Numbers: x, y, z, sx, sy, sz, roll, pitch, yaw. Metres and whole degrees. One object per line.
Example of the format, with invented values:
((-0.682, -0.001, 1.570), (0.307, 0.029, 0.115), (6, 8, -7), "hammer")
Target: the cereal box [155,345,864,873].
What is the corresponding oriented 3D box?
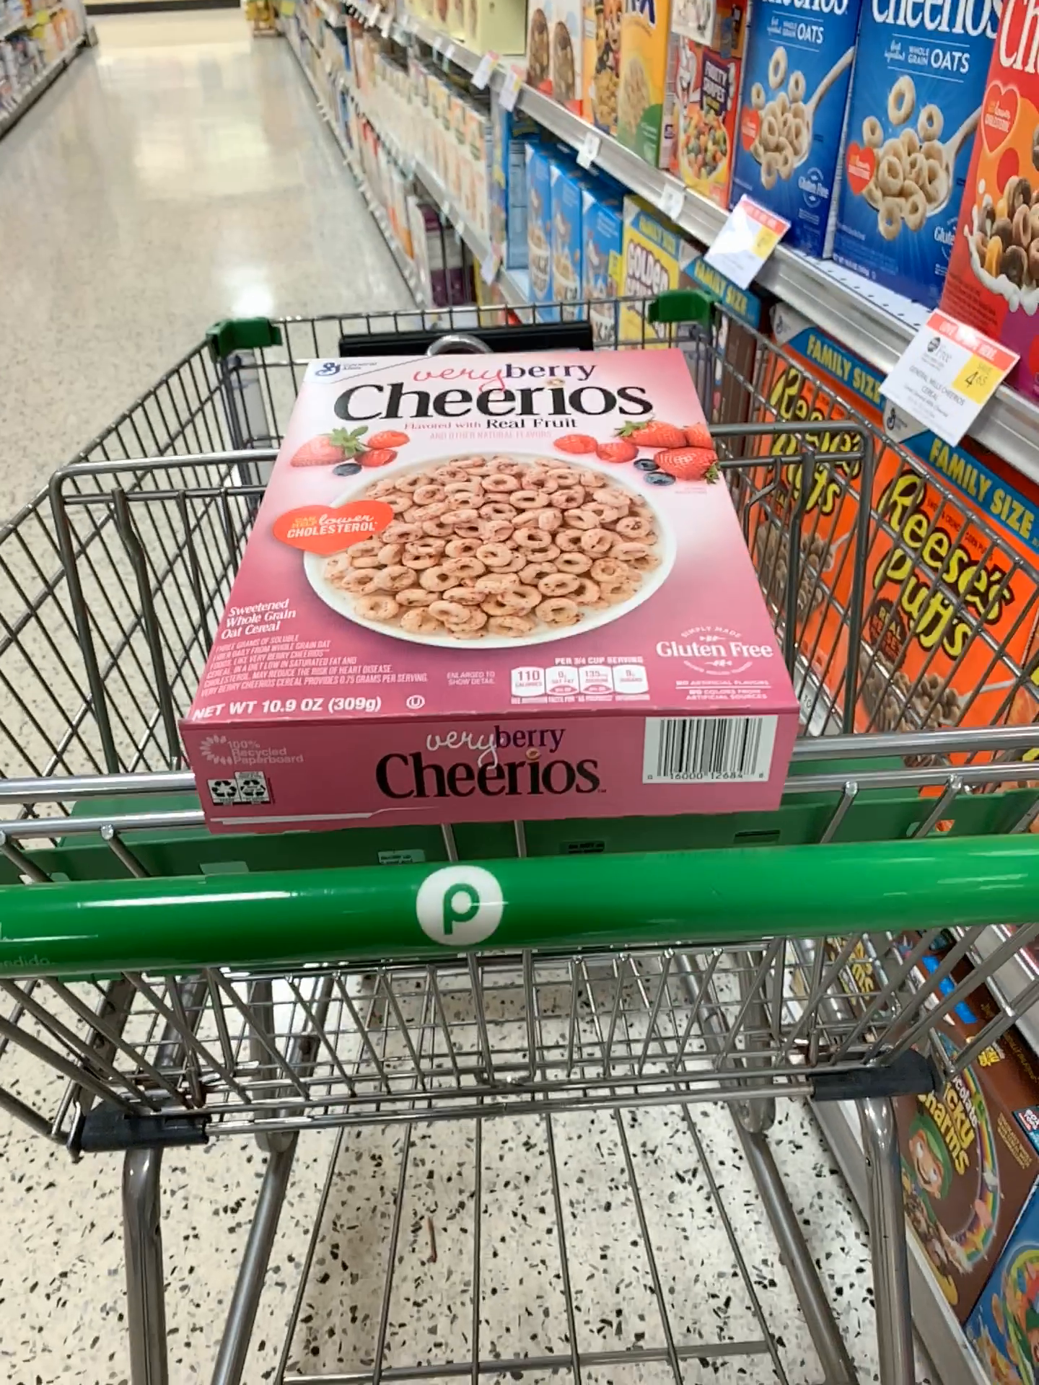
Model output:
((-0.004, -0.057, 0.444), (0.210, 0.059, 0.283), (-2, 40, 0), "cereal box")
